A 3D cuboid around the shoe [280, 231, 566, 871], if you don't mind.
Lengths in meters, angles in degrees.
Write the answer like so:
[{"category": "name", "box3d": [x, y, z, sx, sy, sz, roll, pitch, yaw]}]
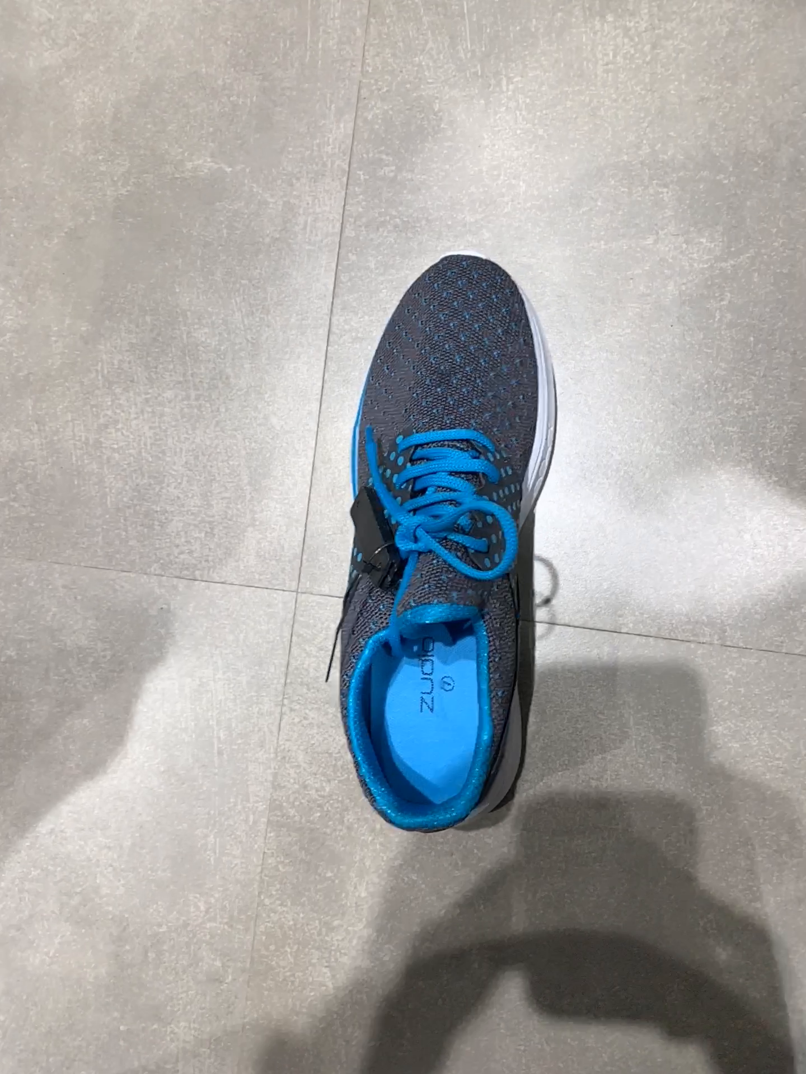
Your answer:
[{"category": "shoe", "box3d": [0.015, 0.006, 0.352, 0.102, 0.102, 0.227, -1, 85, 10]}]
